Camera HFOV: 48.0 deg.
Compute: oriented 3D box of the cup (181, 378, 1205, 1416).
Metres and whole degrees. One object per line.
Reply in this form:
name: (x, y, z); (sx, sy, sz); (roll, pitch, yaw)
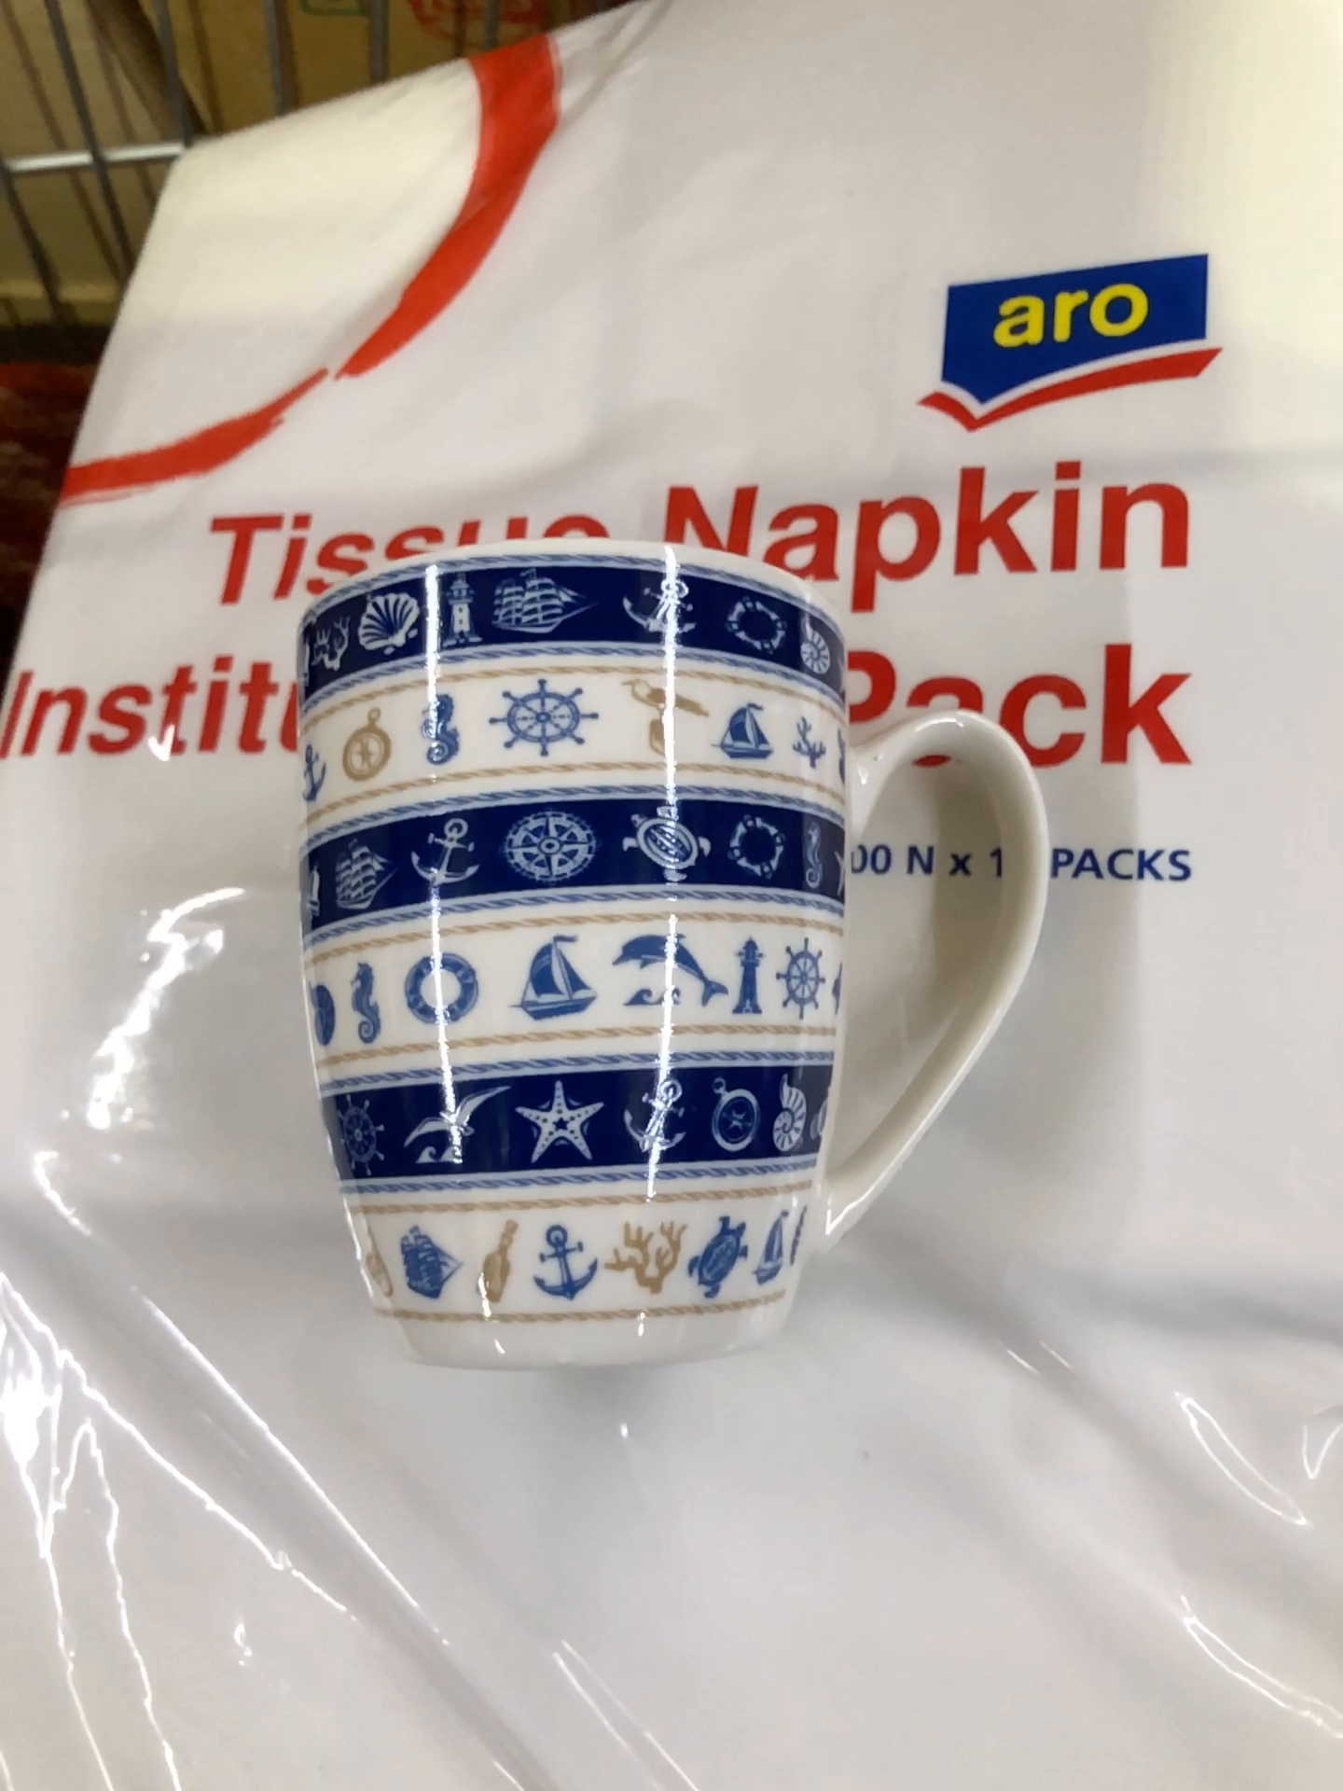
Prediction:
cup: (-0.001, 0.006, 0.220); (0.120, 0.080, 0.110); (5, 79, -27)
